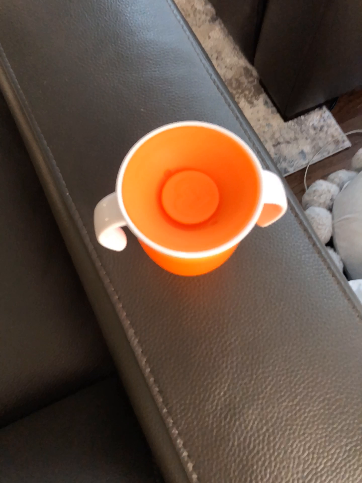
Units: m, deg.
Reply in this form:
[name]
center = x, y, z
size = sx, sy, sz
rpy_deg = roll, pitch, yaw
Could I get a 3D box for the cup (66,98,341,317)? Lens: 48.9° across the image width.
[cup]
center = 0.009, -0.014, 0.254
size = 0.126, 0.096, 0.082
rpy_deg = -14, 73, -4
